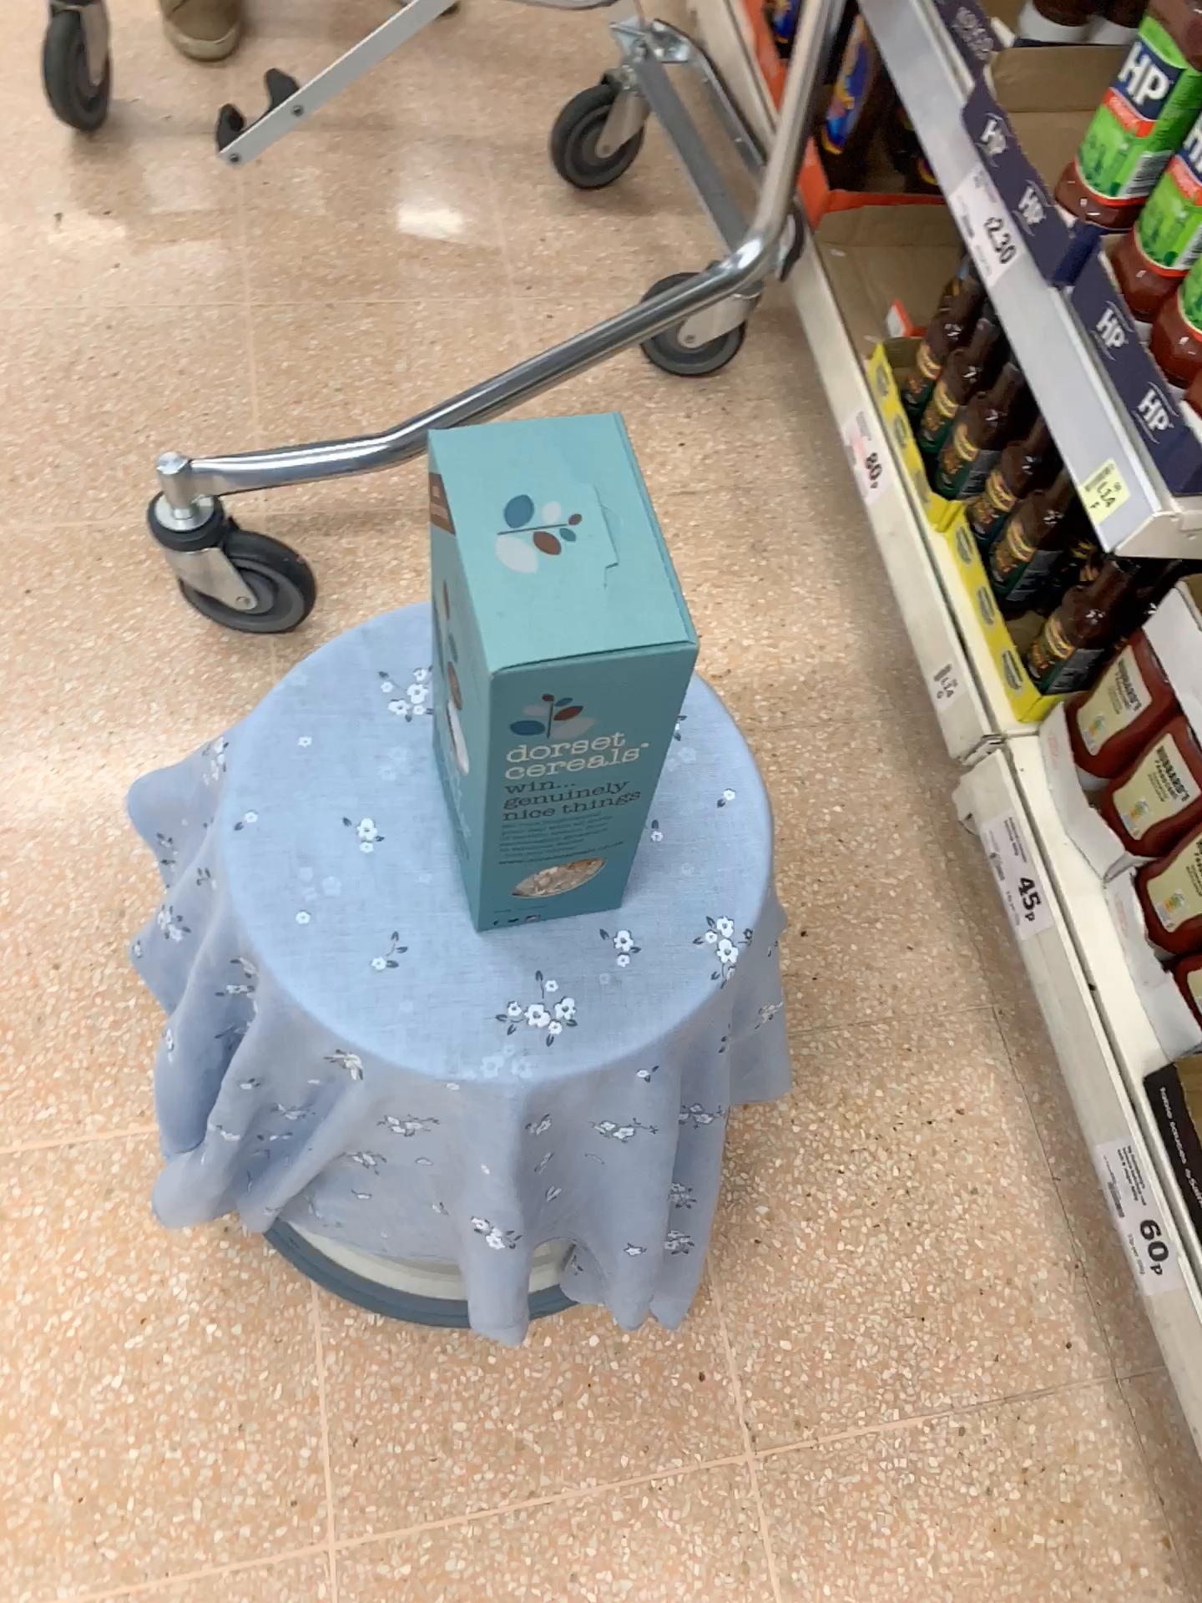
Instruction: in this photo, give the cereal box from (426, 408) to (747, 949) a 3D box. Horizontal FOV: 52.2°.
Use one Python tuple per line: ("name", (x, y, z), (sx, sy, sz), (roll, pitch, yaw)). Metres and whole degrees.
("cereal box", (-0.022, -0.040, 0.555), (0.090, 0.239, 0.121), (-11, 64, -13))
